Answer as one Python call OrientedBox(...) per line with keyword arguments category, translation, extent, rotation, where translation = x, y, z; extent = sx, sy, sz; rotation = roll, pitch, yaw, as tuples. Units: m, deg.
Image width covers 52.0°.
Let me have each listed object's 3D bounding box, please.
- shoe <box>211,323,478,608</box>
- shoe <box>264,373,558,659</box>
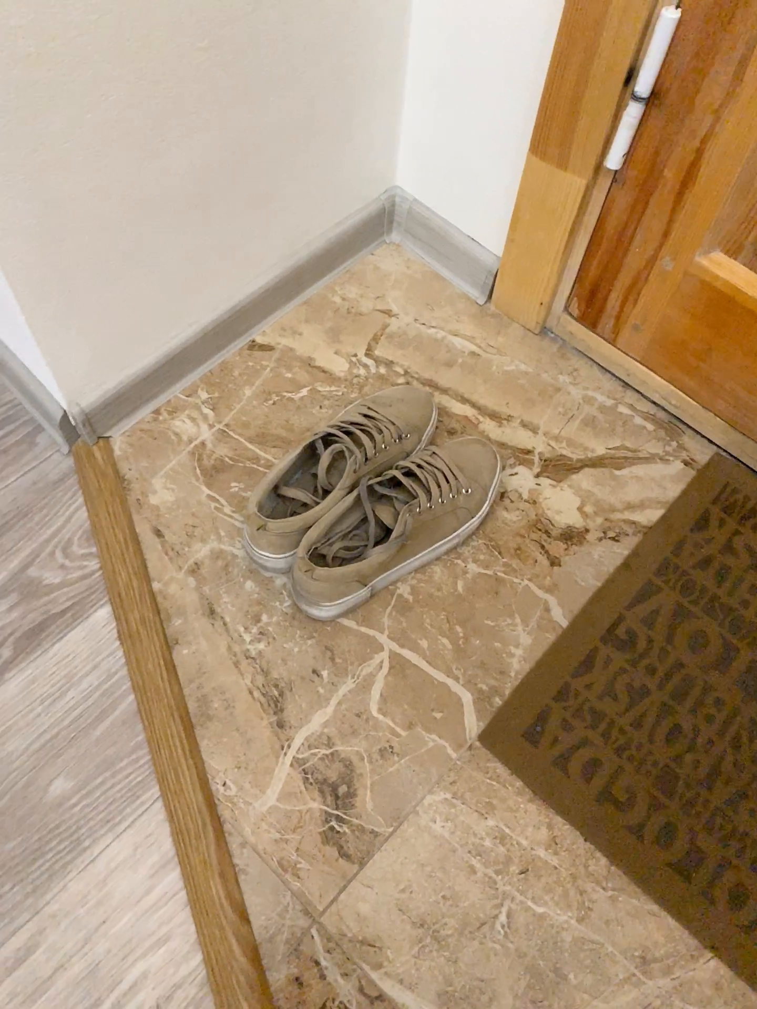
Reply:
OrientedBox(category="shoe", translation=(-0.025, -0.039, 0.697), extent=(0.090, 0.100, 0.240), rotation=(37, 64, 16))
OrientedBox(category="shoe", translation=(0.029, 0.006, 0.664), extent=(0.240, 0.100, 0.090), rotation=(-37, 69, -22))
